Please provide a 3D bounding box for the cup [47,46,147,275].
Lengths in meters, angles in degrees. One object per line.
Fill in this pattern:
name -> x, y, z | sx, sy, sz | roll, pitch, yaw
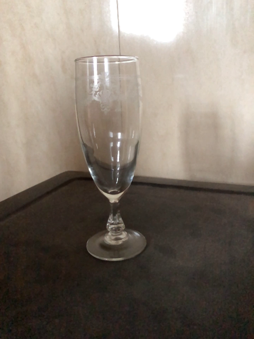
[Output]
cup -> -0.018, -0.006, 0.237 | 0.060, 0.169, 0.060 | -3, 14, 1
